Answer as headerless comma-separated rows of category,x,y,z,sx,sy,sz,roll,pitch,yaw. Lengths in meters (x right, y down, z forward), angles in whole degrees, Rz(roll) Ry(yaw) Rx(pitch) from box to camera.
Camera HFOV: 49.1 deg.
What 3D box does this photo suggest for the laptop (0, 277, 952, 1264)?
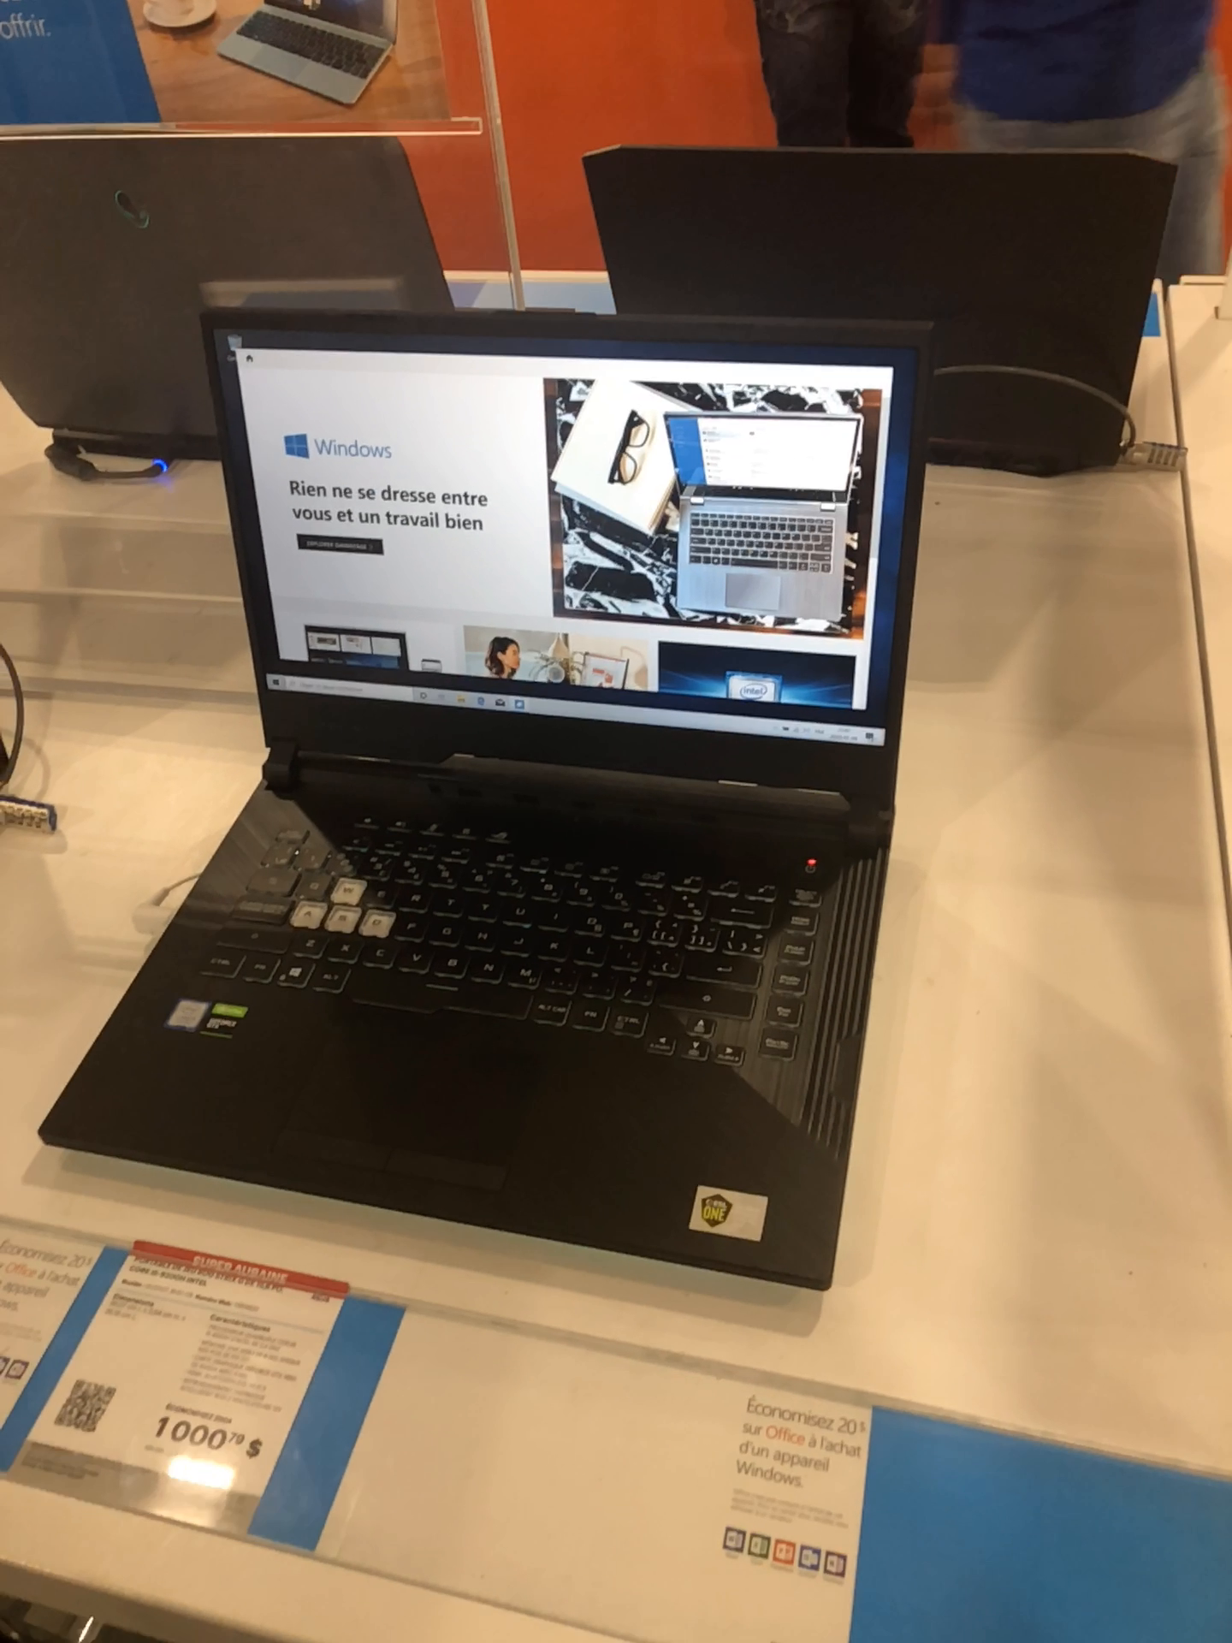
laptop,-0.056,-0.048,0.625,0.363,0.236,0.345,5,47,14
